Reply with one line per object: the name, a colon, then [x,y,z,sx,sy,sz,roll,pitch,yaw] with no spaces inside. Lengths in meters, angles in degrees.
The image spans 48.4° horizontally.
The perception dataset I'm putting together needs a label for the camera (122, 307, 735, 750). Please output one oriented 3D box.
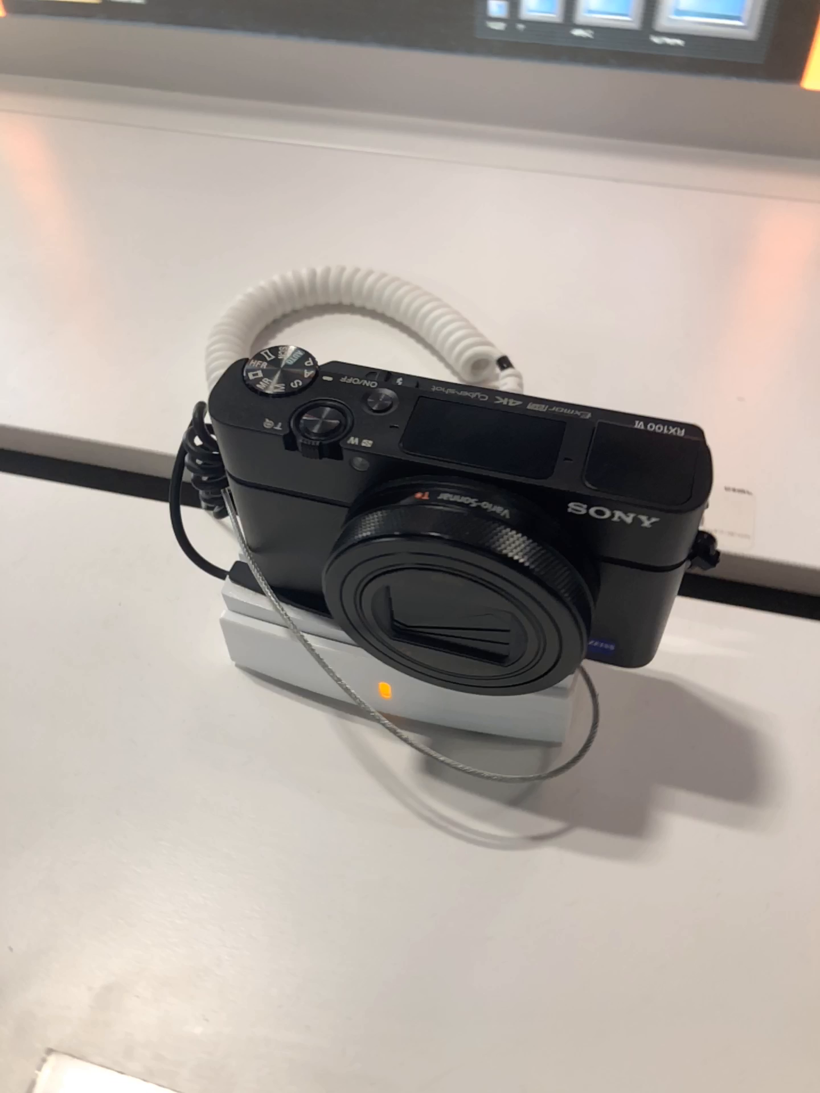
camera: [0.005,-0.003,0.200,0.110,0.070,0.040,12,51,11]
